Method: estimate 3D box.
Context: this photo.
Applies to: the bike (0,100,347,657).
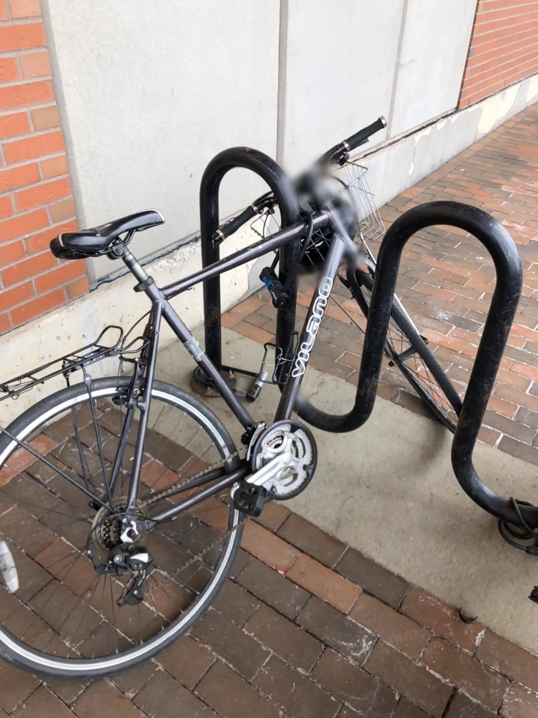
[{"bbox_3d":[-0.442,-0.173,1.697,0.744,0.734,1.421,24,40,28],"label":"bike"}]
